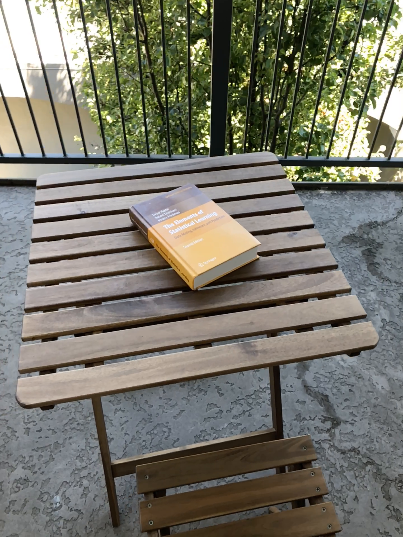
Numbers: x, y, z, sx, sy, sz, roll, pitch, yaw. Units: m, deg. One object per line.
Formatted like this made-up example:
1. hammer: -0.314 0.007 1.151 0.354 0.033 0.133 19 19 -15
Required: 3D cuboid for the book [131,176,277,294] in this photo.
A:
1. book: -0.001 -0.080 0.900 0.180 0.040 0.251 -26 52 -23
